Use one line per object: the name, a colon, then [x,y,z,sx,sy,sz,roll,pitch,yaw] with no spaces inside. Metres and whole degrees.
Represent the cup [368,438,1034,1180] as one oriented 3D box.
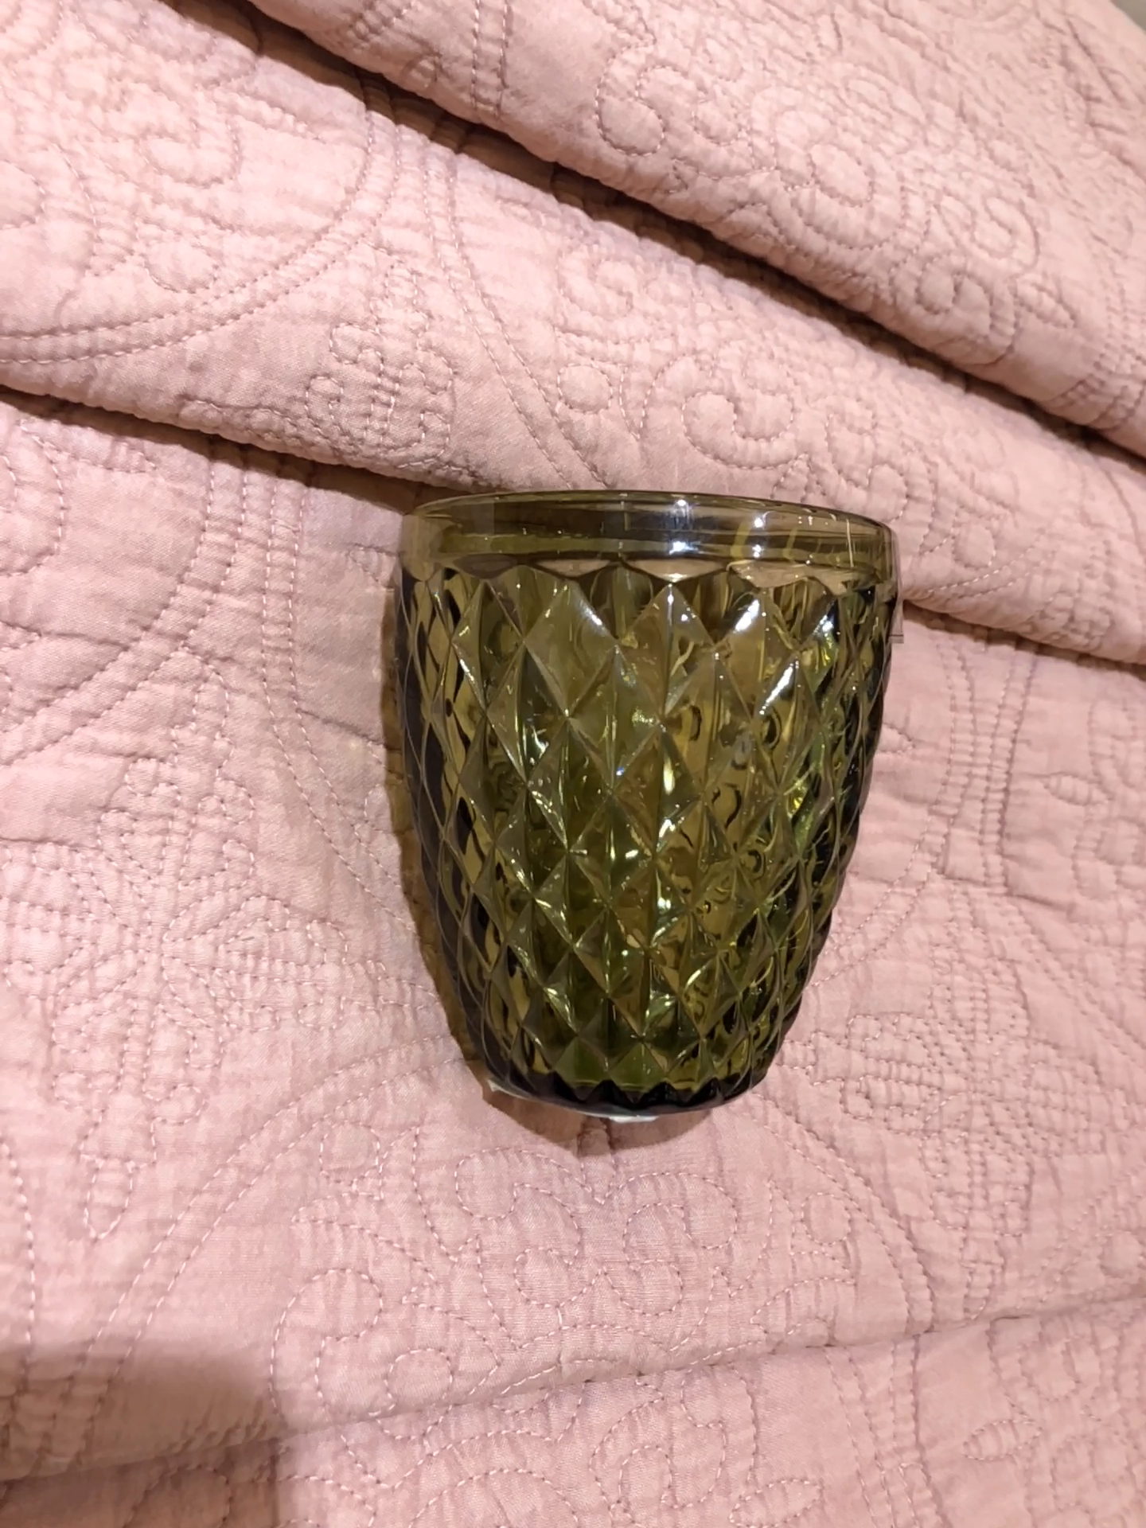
cup: [0.019,0.004,0.221,0.080,0.070,0.100,2,96,-31]
